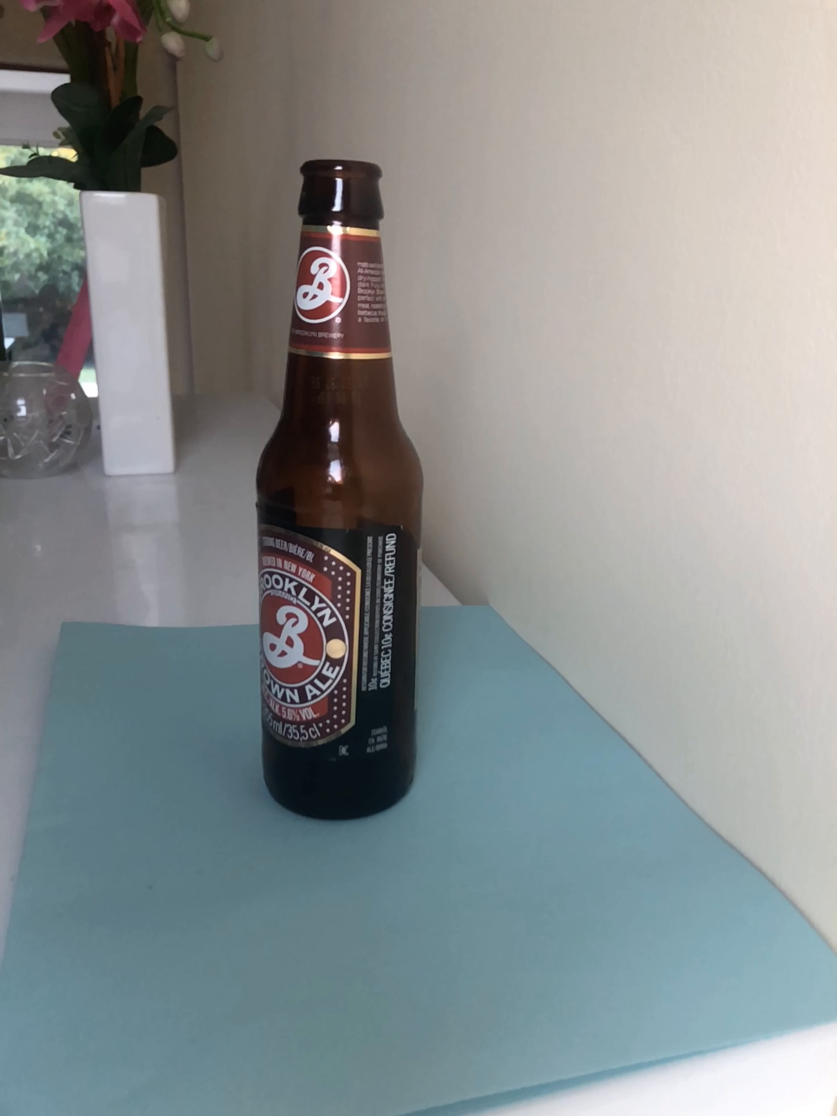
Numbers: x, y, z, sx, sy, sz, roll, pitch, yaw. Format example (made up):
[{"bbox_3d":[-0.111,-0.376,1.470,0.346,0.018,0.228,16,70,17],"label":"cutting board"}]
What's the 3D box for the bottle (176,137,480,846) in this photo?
[{"bbox_3d":[-0.031,-0.023,0.337,0.070,0.229,0.070,1,18,0],"label":"bottle"}]
